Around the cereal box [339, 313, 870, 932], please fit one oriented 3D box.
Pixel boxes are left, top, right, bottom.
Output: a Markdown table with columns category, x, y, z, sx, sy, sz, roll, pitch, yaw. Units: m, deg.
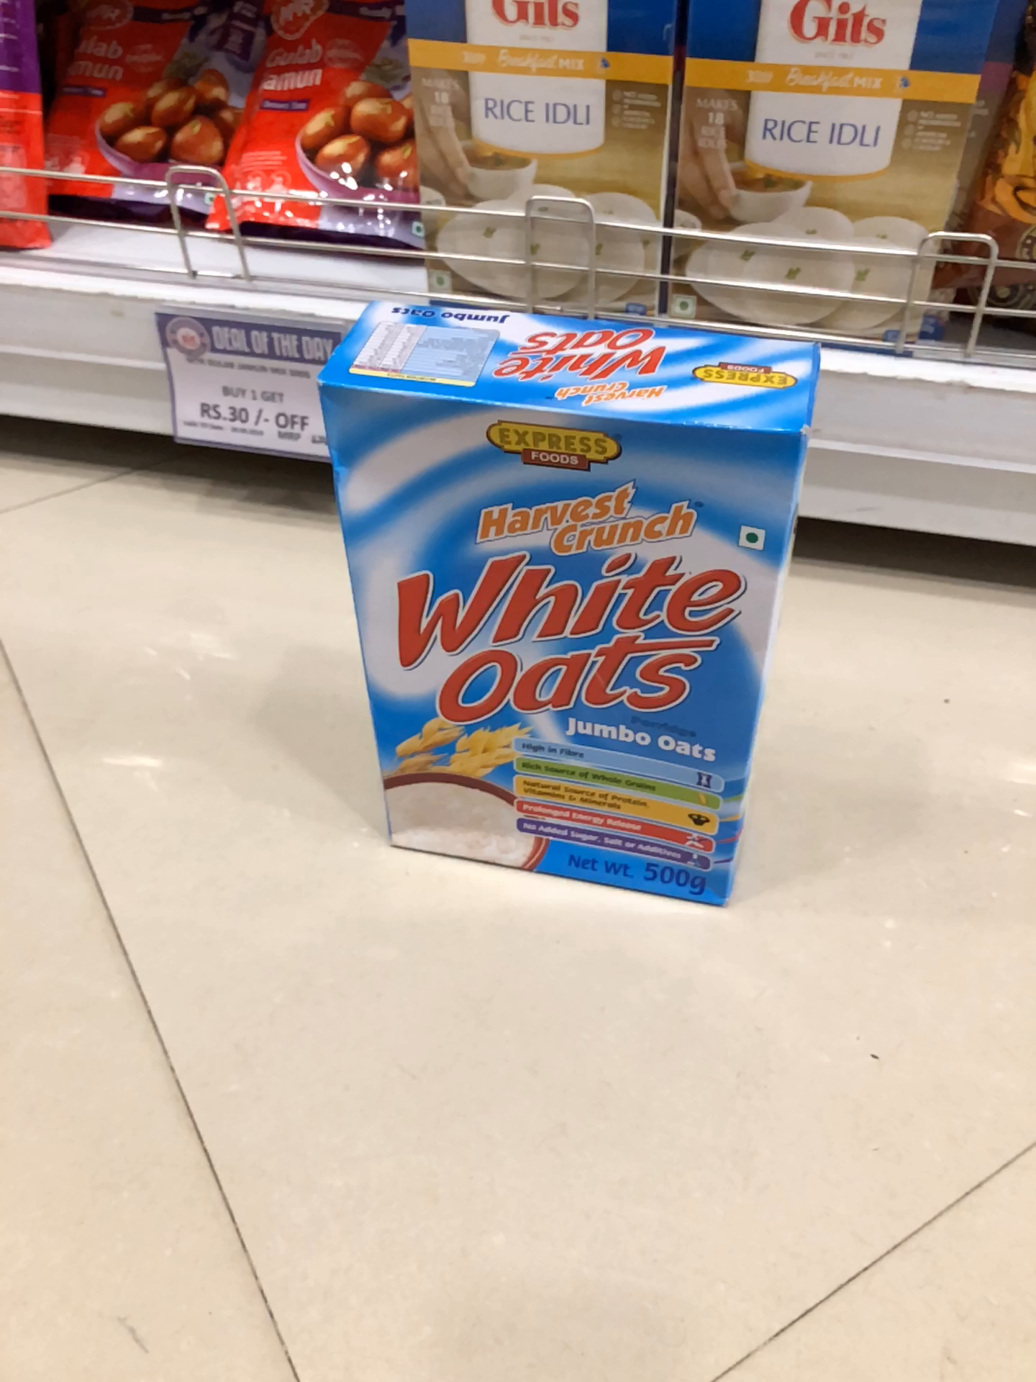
| category | x | y | z | sx | sy | sz | roll | pitch | yaw |
| --- | --- | --- | --- | --- | --- | --- | --- | --- | --- |
| cereal box | 0.030 | -0.014 | 0.420 | 0.150 | 0.219 | 0.060 | 9 | 45 | 11 |
